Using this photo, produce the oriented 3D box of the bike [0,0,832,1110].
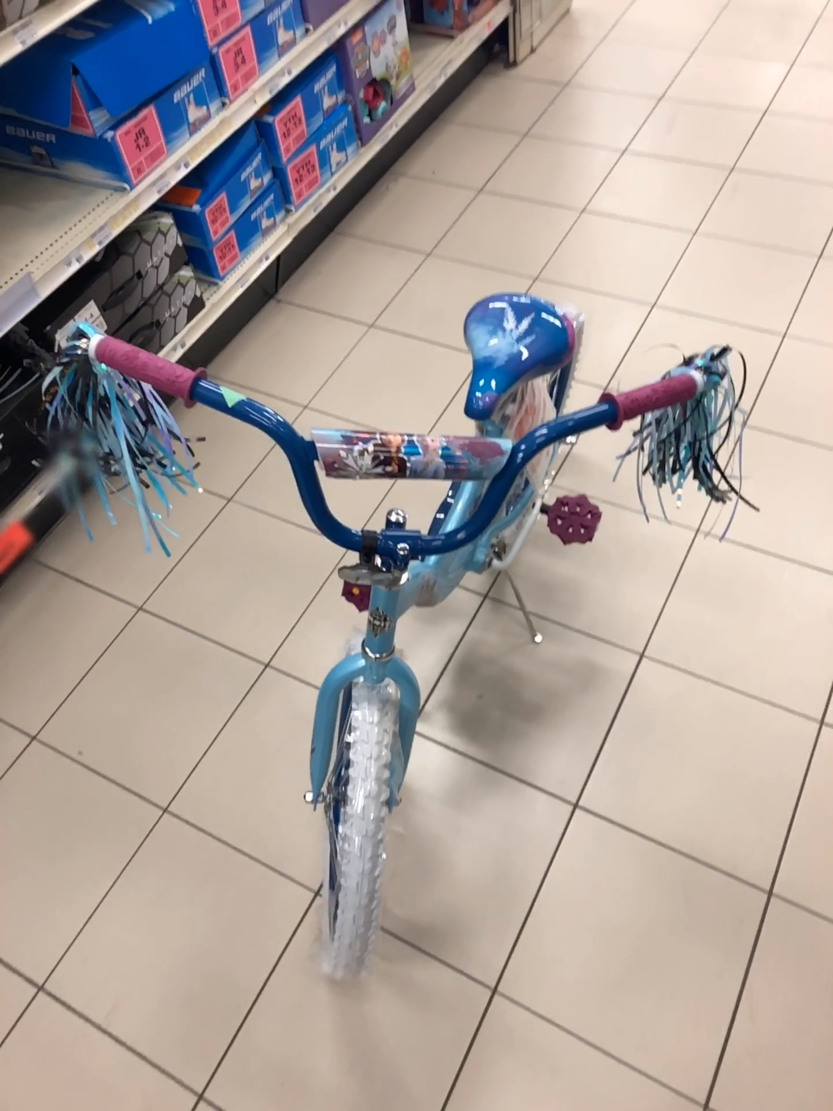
[{"bbox_3d":[0.101,-0.064,1.240,0.641,0.954,1.178,12,53,16],"label":"bike"}]
